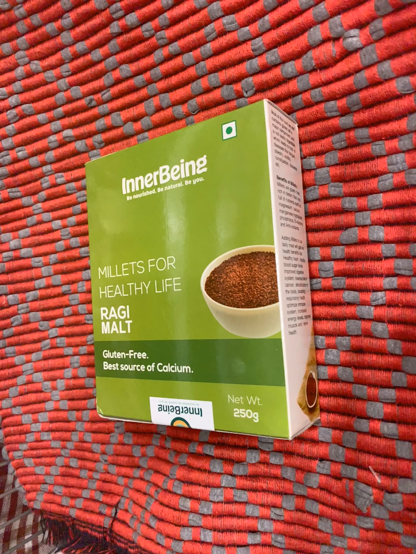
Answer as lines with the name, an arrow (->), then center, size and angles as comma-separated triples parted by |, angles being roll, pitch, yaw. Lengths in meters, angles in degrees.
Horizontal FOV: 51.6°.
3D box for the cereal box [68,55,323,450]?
cereal box -> -0.014, -0.007, 0.240 | 0.131, 0.050, 0.170 | -6, 85, 34
